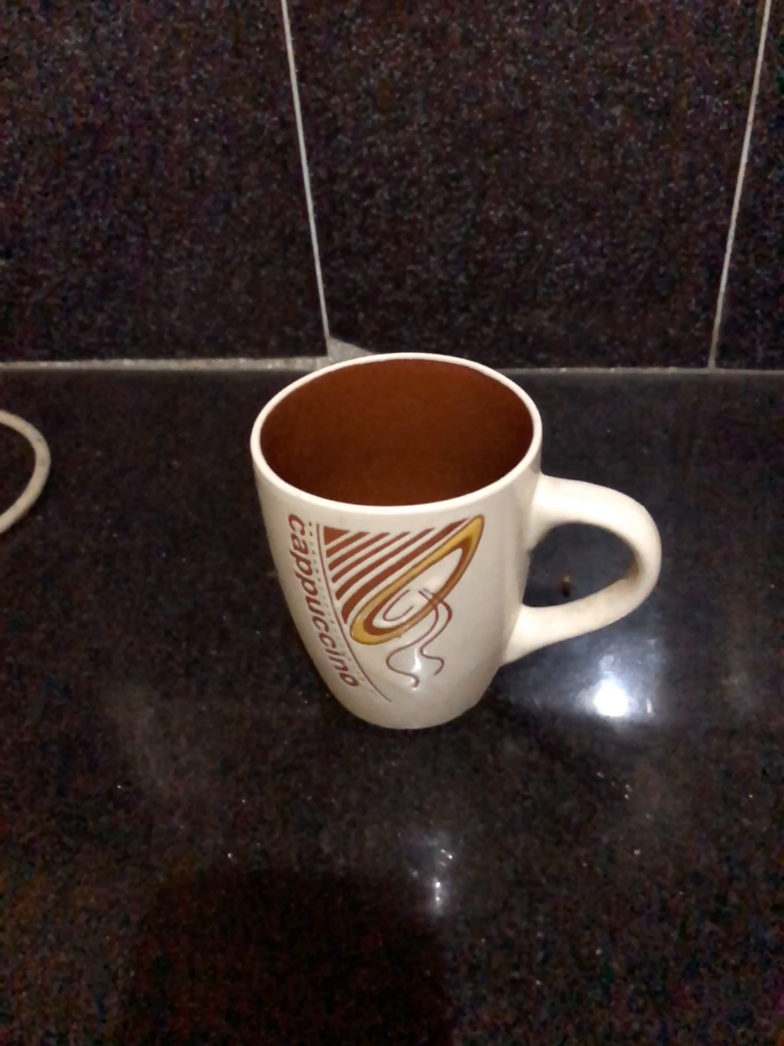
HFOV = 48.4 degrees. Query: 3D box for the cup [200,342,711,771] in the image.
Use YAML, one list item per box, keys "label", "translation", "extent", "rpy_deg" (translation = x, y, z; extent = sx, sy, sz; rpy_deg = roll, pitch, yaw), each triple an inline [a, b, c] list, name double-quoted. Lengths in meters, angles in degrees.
- label: "cup"
  translation: [0.021, 0.007, 0.267]
  extent: [0.120, 0.089, 0.091]
  rpy_deg: [2, 39, 8]
